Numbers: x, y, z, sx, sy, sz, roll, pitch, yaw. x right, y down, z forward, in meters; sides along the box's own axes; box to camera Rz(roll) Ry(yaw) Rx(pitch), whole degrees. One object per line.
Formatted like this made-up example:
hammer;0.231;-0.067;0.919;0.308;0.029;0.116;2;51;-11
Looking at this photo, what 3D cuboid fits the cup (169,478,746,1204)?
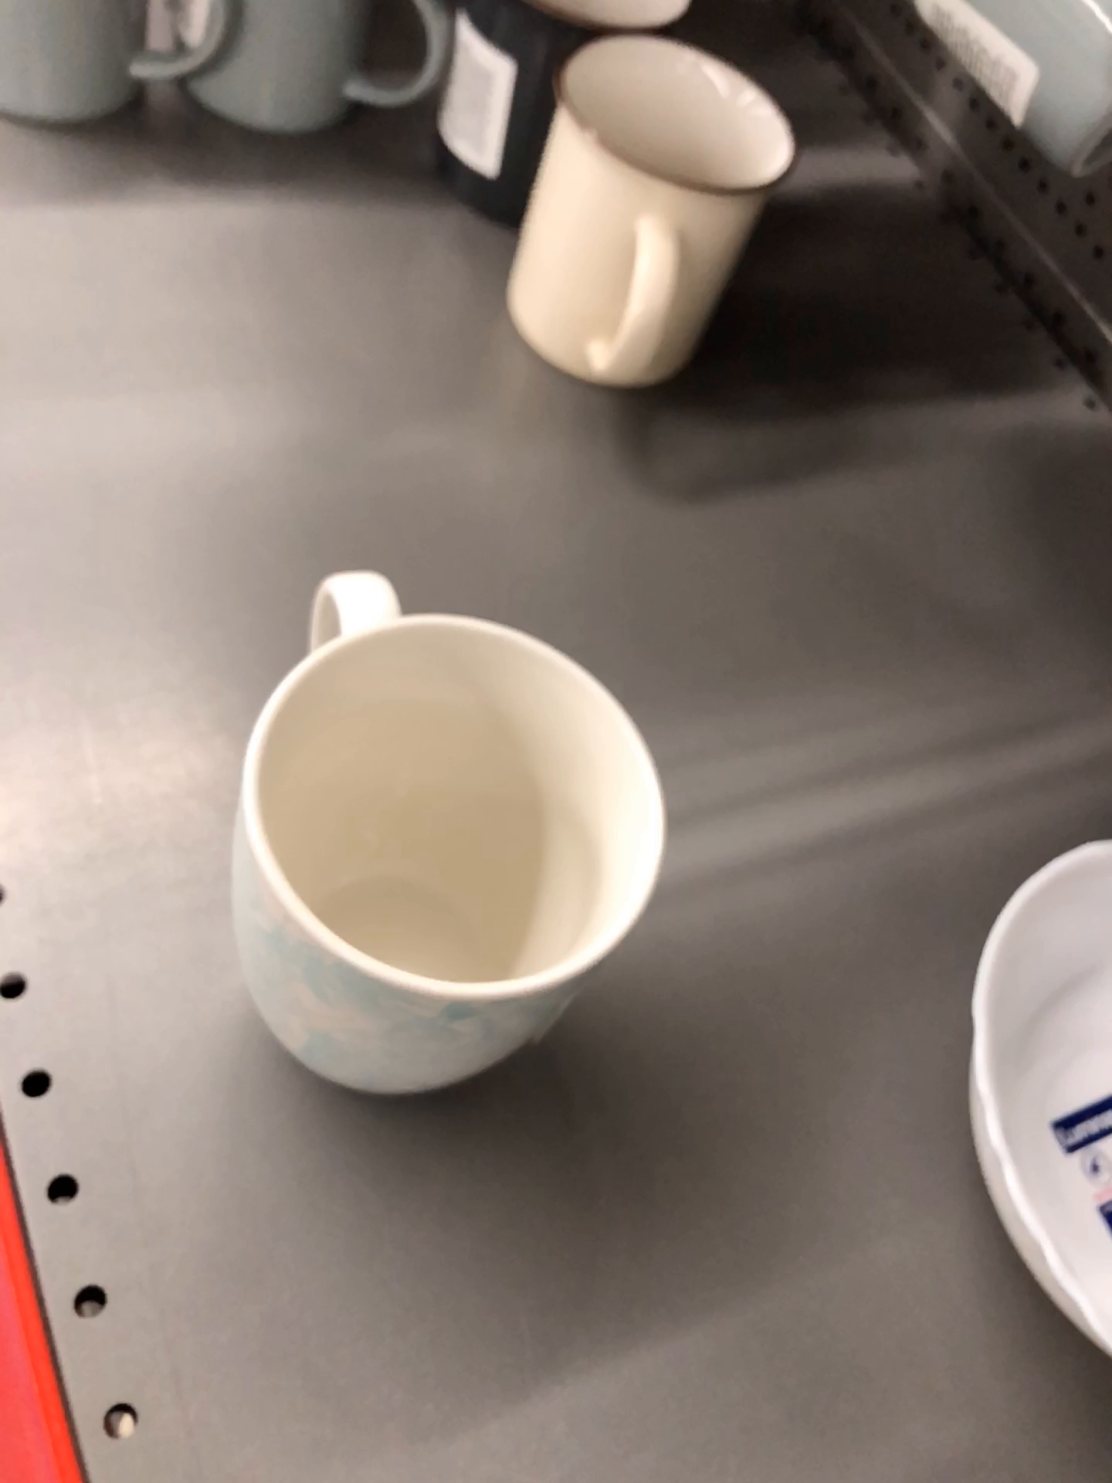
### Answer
cup;-0.033;0.023;0.285;0.083;0.098;0.121;-10;63;-20
